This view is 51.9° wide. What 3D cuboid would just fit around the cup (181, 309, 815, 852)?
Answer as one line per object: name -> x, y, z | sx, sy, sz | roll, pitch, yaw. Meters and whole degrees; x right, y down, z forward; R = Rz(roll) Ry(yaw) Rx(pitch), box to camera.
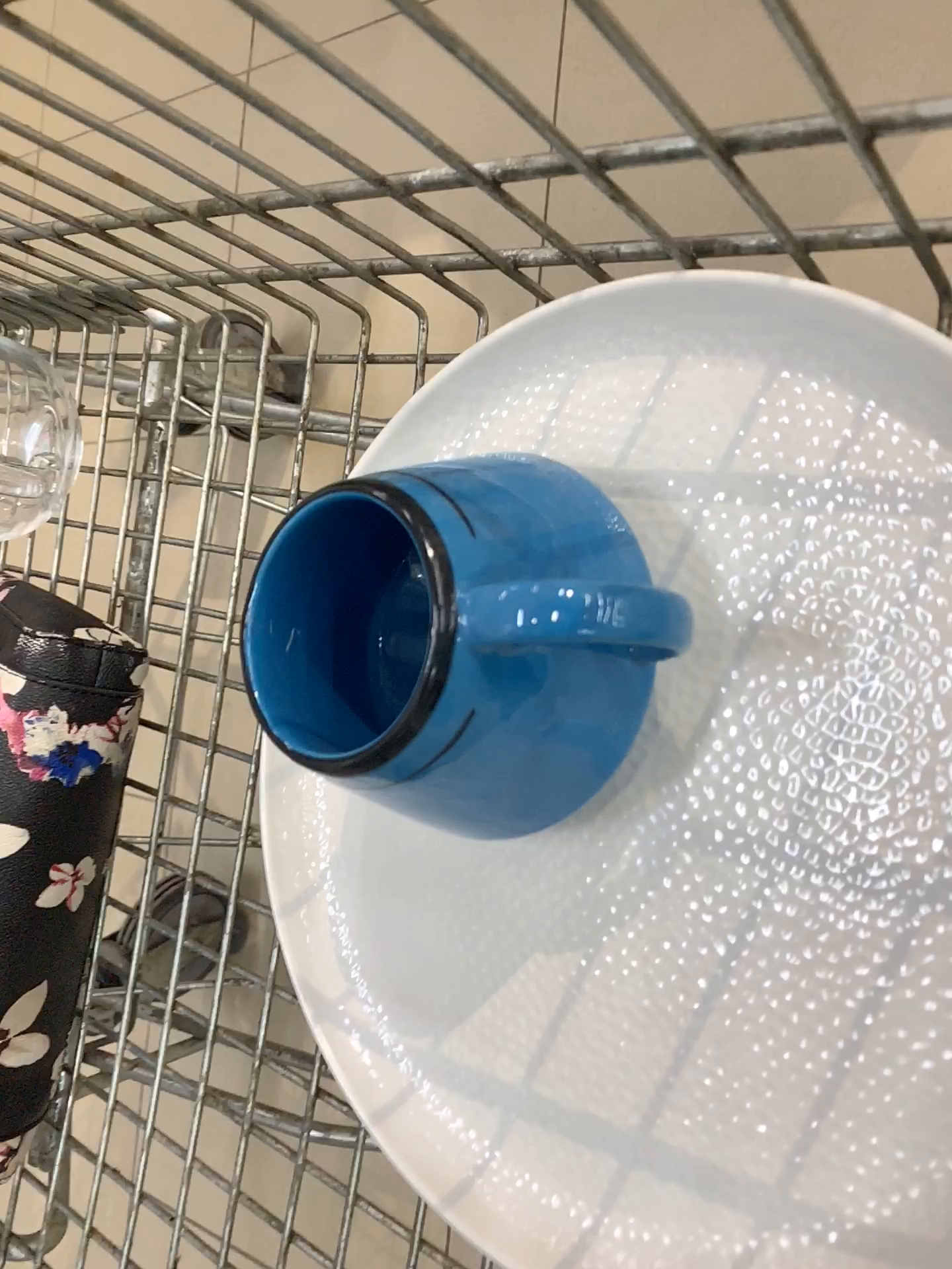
cup -> 0.004, -0.001, 0.251 | 0.131, 0.090, 0.100 | -7, 81, 34
